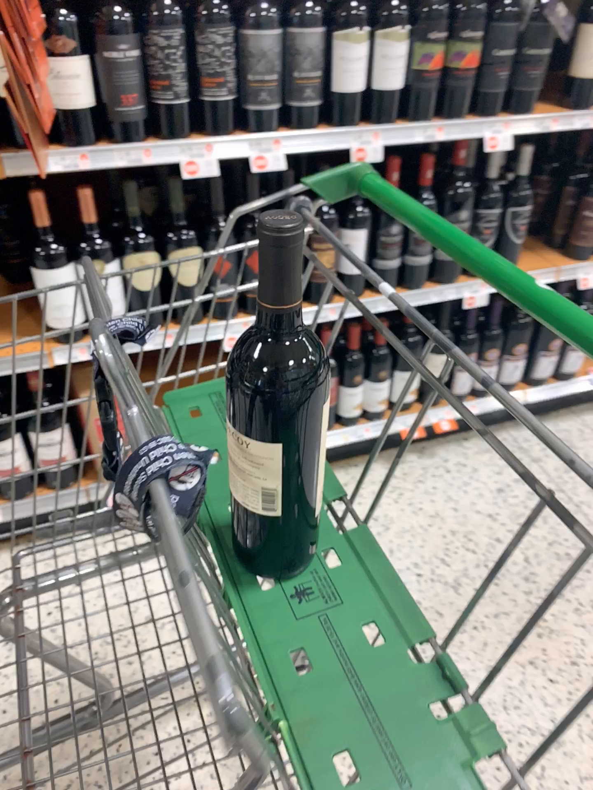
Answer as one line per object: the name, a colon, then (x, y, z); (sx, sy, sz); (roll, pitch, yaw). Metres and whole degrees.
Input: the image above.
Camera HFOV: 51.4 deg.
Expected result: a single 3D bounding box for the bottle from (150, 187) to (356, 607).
bottle: (-0.030, 0.015, 0.460); (0.090, 0.297, 0.091); (1, 37, -1)
